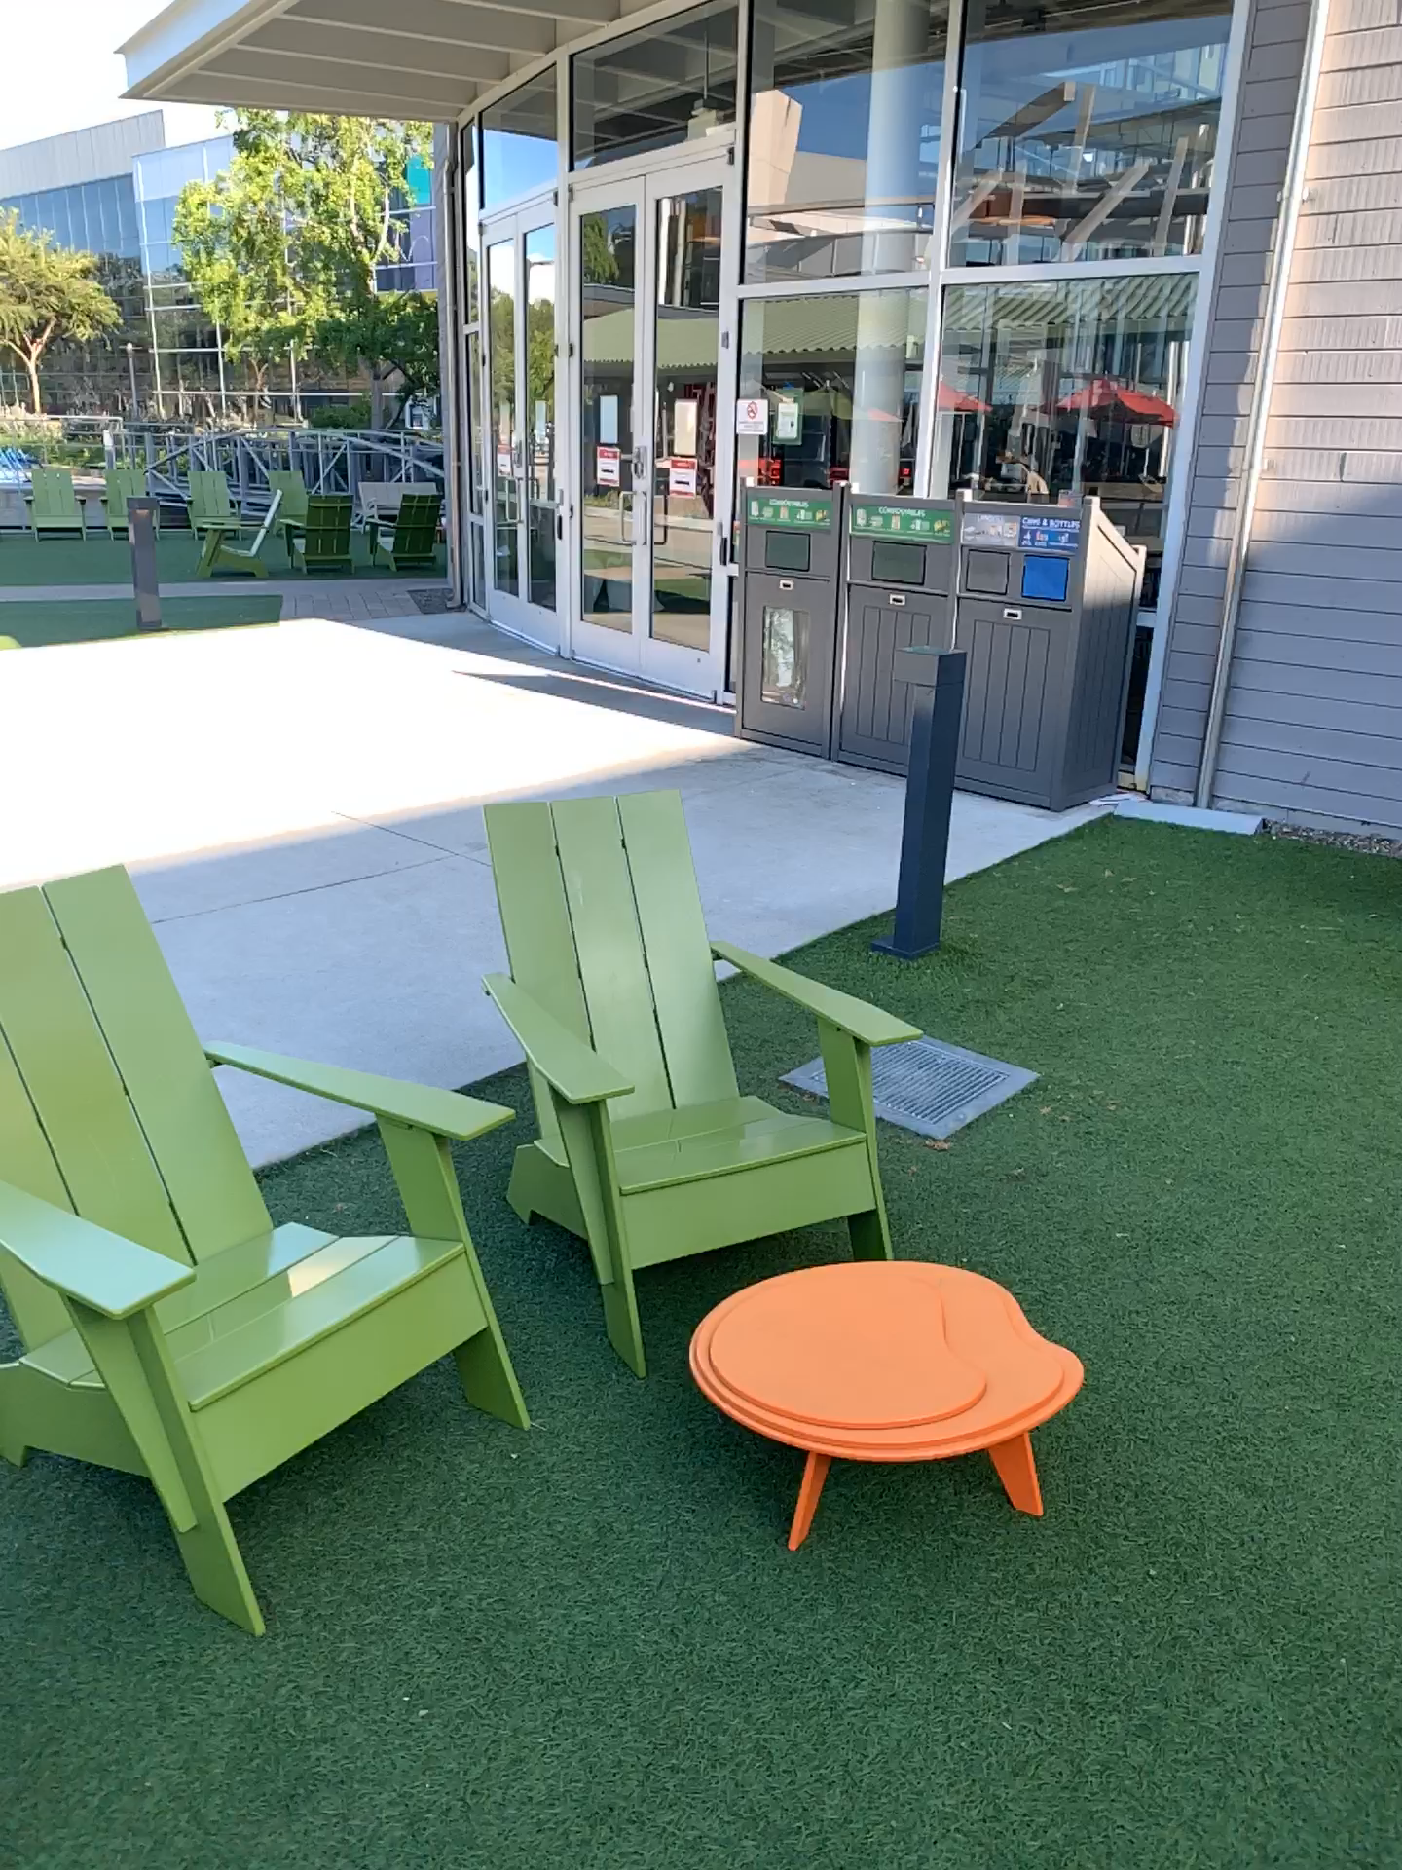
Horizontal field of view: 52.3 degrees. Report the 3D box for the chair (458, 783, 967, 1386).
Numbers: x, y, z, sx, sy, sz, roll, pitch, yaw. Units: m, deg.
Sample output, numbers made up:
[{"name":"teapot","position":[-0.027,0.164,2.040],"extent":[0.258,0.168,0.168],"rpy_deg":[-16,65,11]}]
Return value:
[{"name":"chair","position":[-0.032,0.227,2.915],"extent":[0.710,0.856,0.853],"rpy_deg":[-6,21,-22]}]
